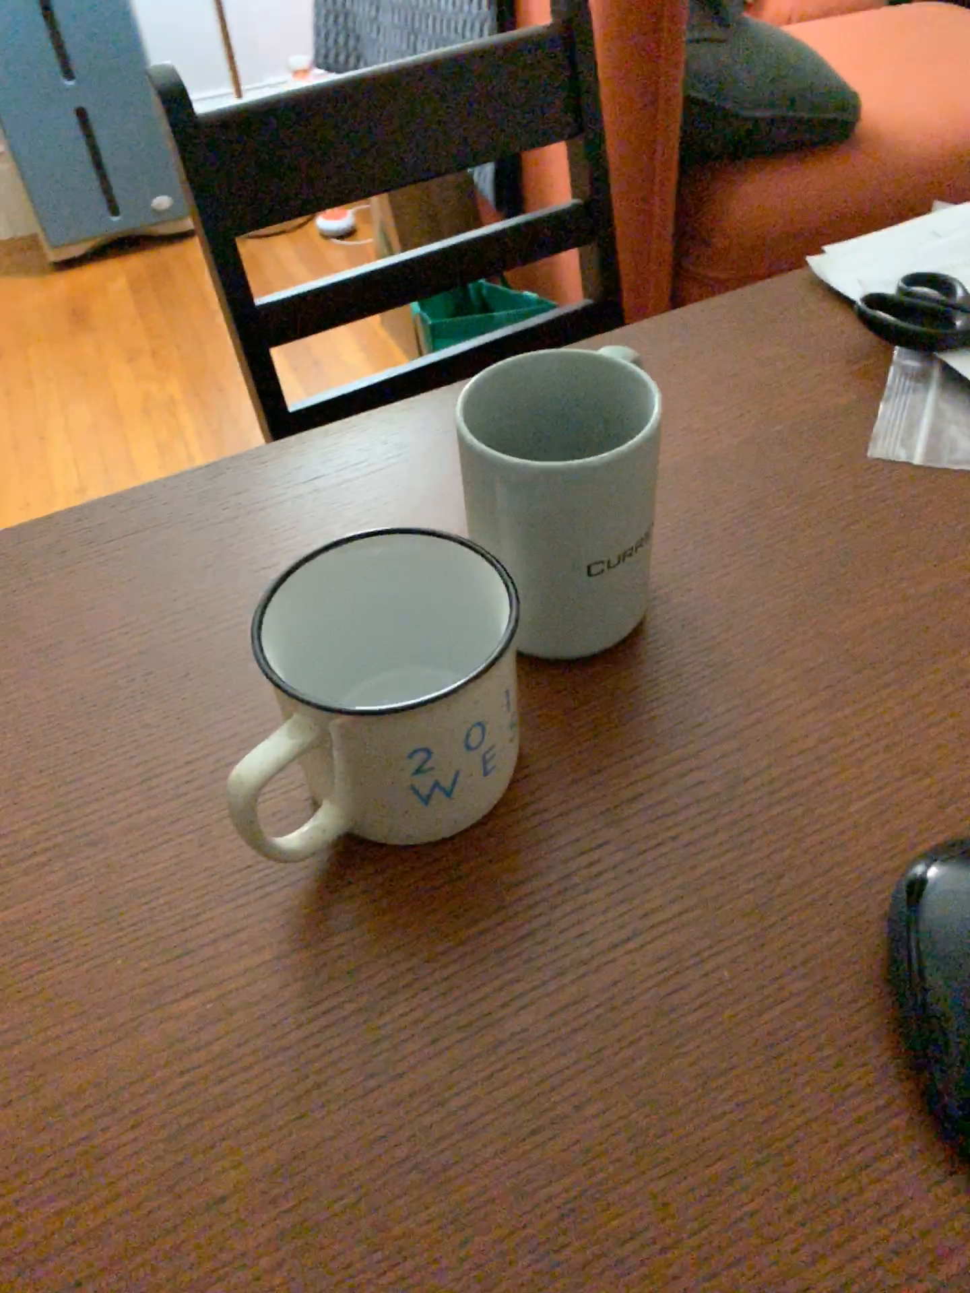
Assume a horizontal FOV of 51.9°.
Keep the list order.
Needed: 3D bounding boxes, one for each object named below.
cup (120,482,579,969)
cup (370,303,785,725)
[{"bbox_3d":[-0.044,0.026,0.390,0.130,0.099,0.100,-36,54,-26],"label":"cup"},{"bbox_3d":[0.042,-0.063,0.443,0.140,0.099,0.100,-36,54,-26],"label":"cup"}]
